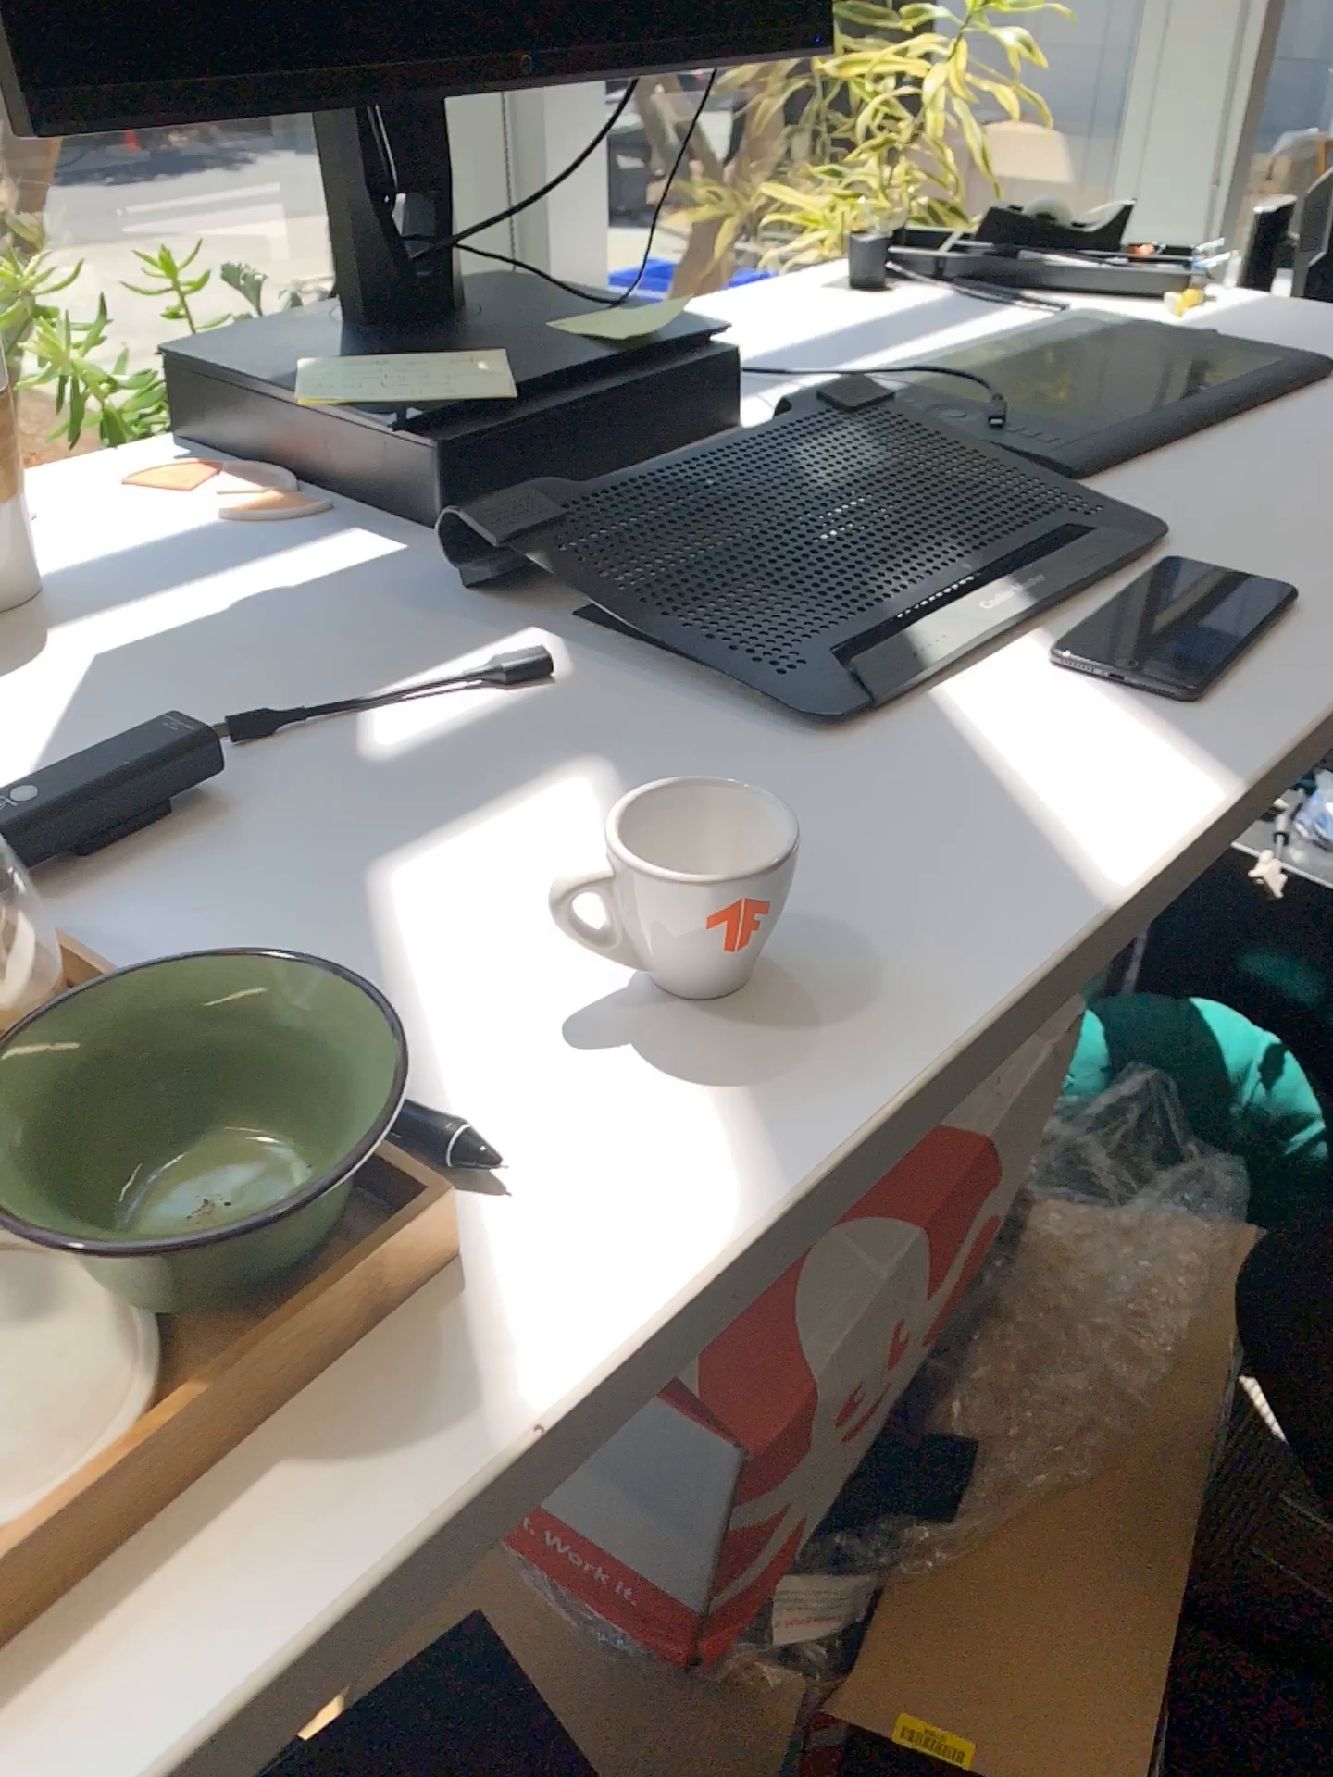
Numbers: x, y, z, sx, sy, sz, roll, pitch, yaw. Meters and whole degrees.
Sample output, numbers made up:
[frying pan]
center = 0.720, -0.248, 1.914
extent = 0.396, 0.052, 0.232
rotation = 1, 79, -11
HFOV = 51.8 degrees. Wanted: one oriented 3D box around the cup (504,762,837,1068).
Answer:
[cup]
center = 0.000, 0.006, 0.455
extent = 0.090, 0.060, 0.060
rotation = -13, 37, -19
